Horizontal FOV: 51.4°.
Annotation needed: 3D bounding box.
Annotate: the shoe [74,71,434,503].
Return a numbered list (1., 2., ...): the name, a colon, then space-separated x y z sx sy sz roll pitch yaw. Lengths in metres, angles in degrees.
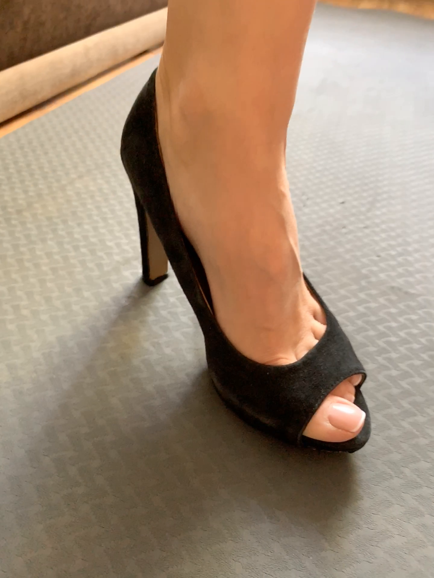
1. shoe: 0.016 -0.018 0.264 0.090 0.139 0.211 -26 50 -31
